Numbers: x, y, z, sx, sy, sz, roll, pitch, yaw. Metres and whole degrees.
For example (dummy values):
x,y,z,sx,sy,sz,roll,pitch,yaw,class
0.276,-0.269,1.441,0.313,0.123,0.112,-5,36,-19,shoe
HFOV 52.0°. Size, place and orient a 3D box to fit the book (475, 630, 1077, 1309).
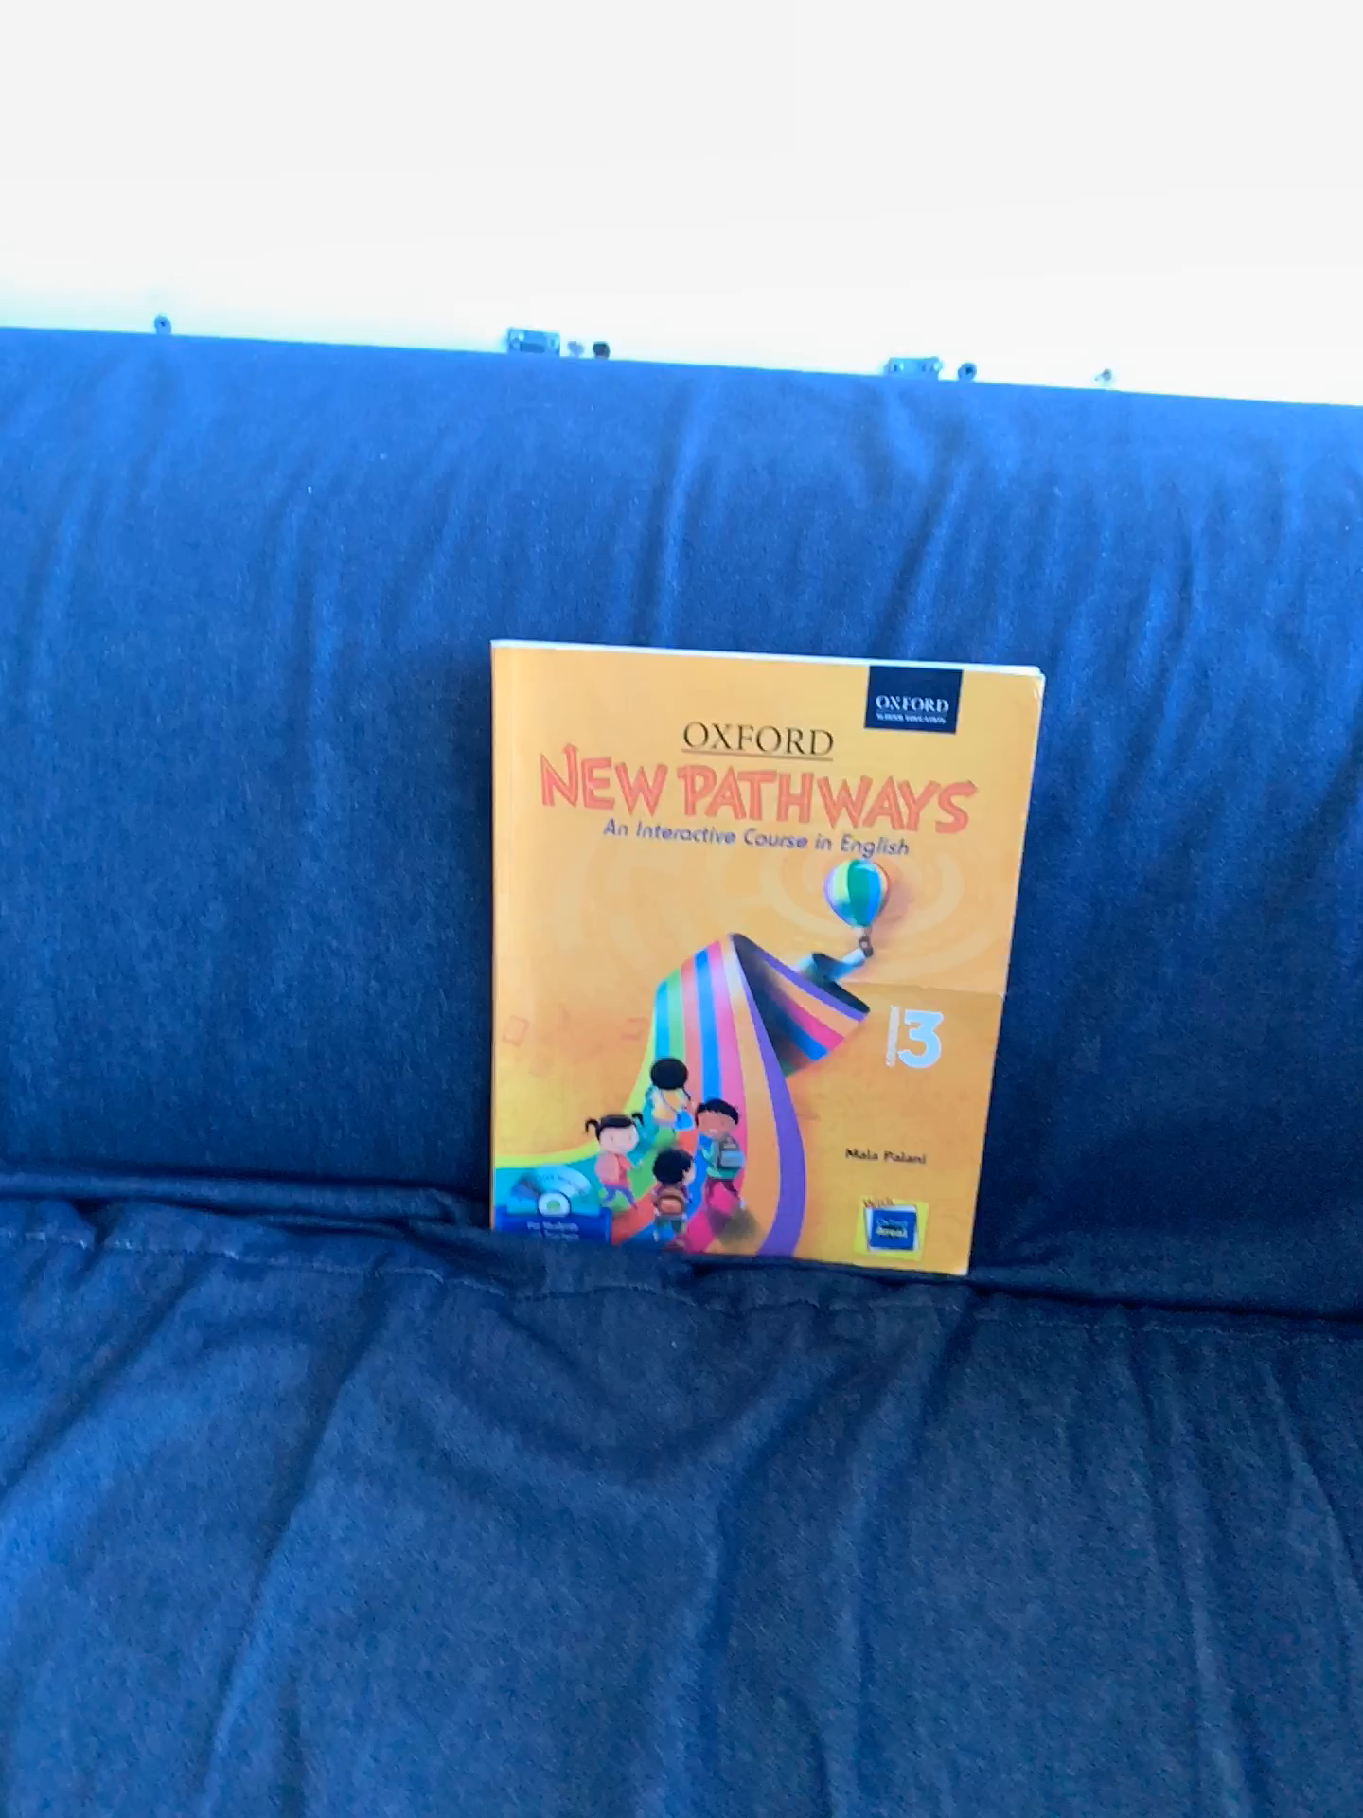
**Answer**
x,y,z,sx,sy,sz,roll,pitch,yaw,class
0.030,0.033,0.601,0.230,0.283,0.030,4,19,2,book
